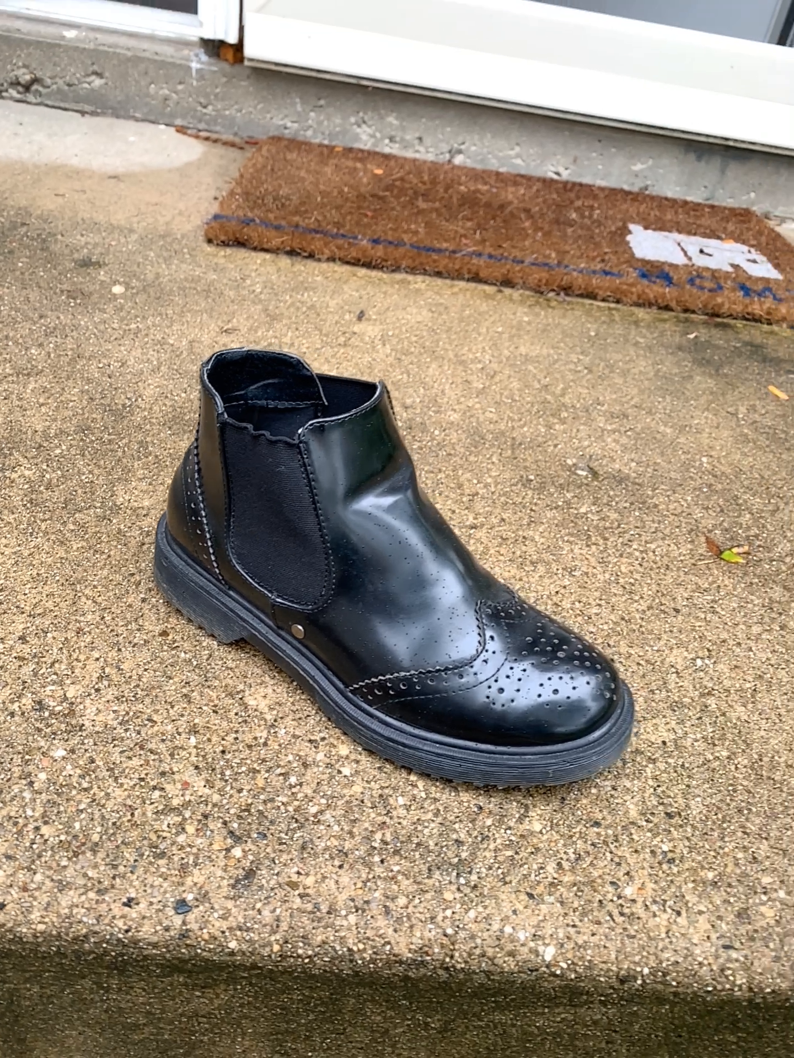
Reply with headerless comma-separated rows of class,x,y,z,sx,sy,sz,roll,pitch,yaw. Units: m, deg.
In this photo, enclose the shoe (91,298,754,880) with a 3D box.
shoe,0.002,0.014,0.398,0.267,0.148,0.119,24,38,18
